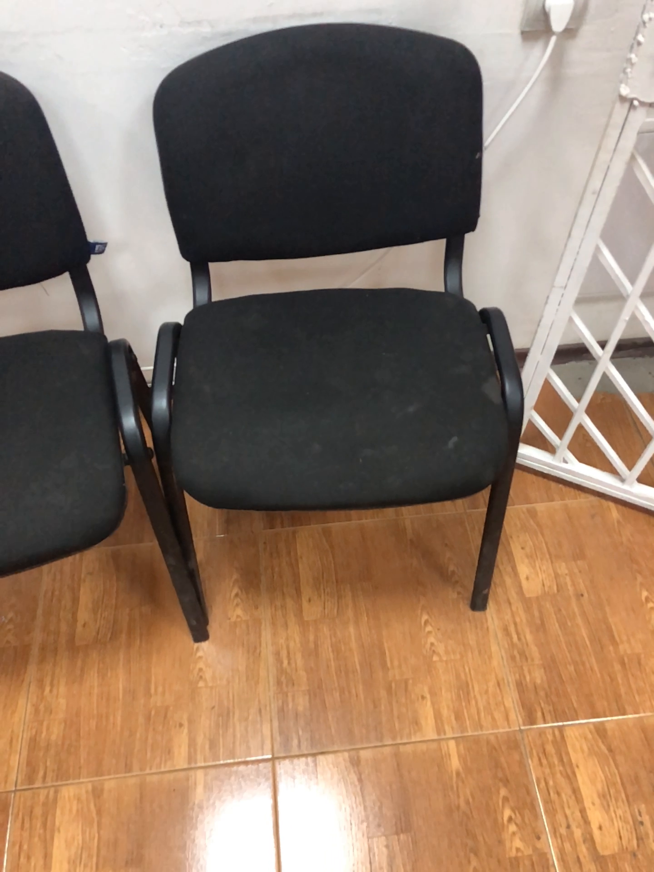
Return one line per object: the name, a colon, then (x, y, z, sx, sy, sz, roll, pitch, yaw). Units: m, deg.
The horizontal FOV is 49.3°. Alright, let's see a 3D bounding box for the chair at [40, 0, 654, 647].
chair: (0.012, -0.102, 1.026, 0.520, 0.748, 0.511, -5, 54, -3)
